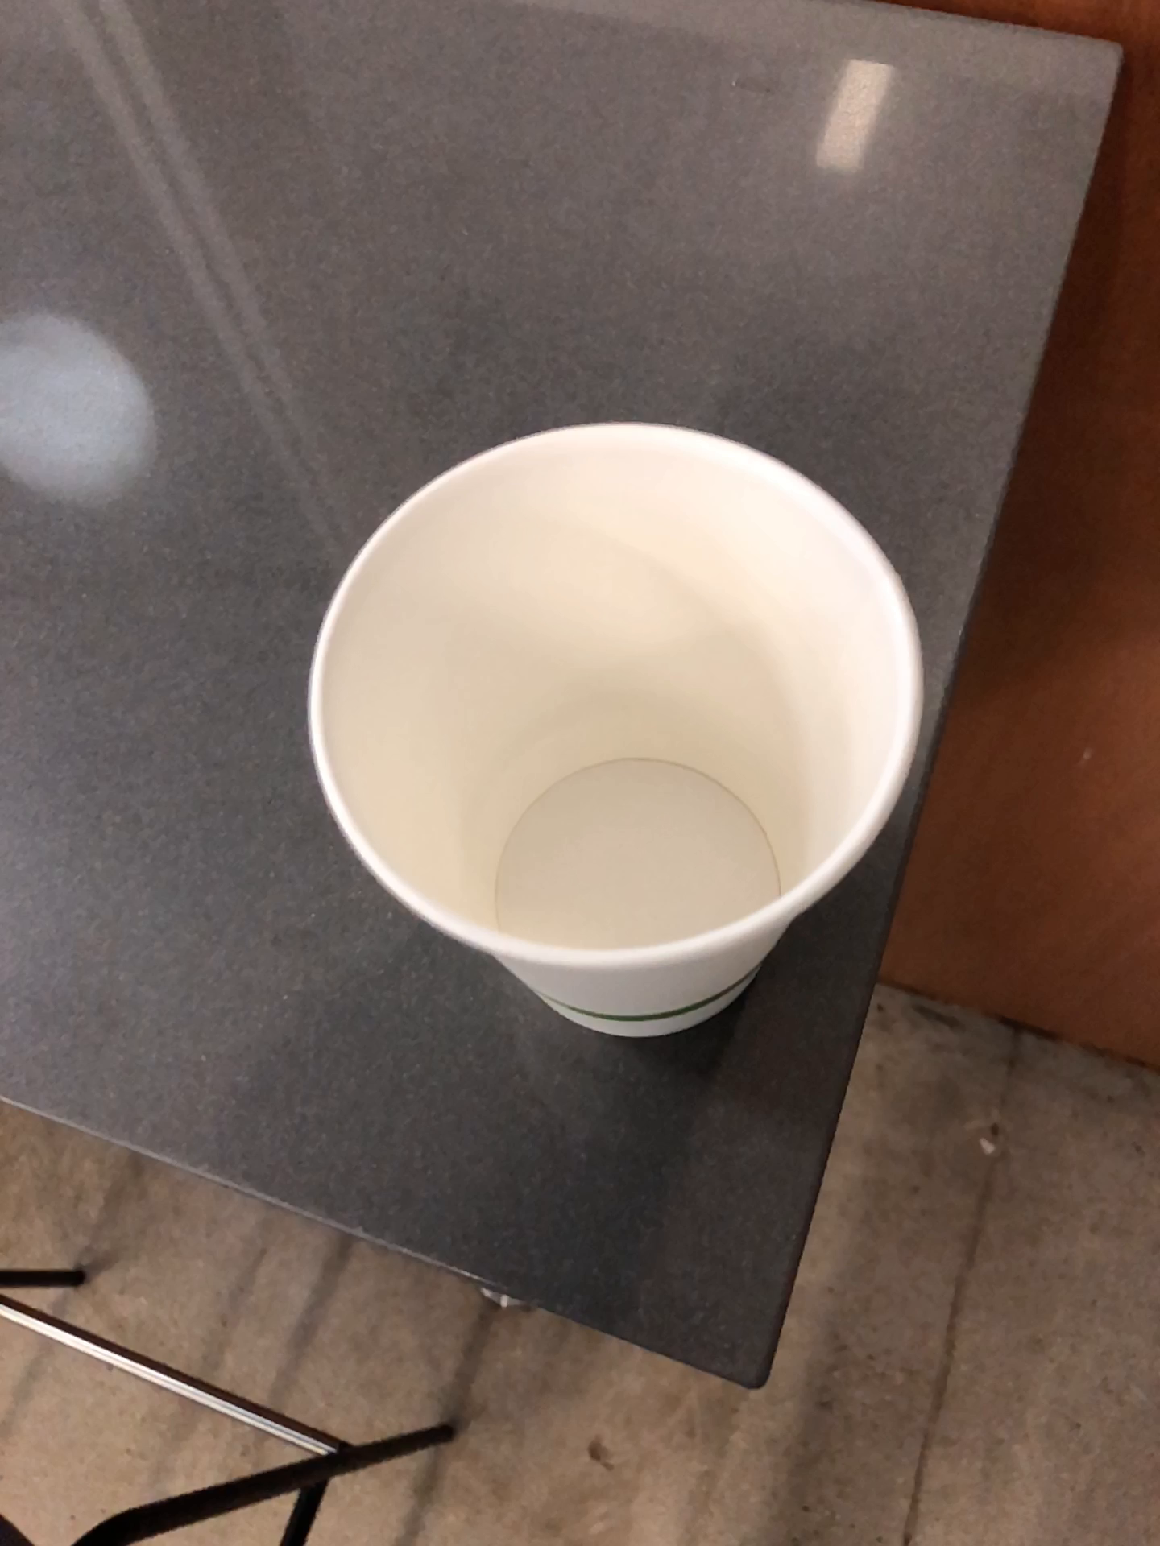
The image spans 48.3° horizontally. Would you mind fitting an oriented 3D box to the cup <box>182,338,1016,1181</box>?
[{"bbox_3d":[0.003,0.008,0.234,0.090,0.120,0.080,-25,66,-7],"label":"cup"}]
